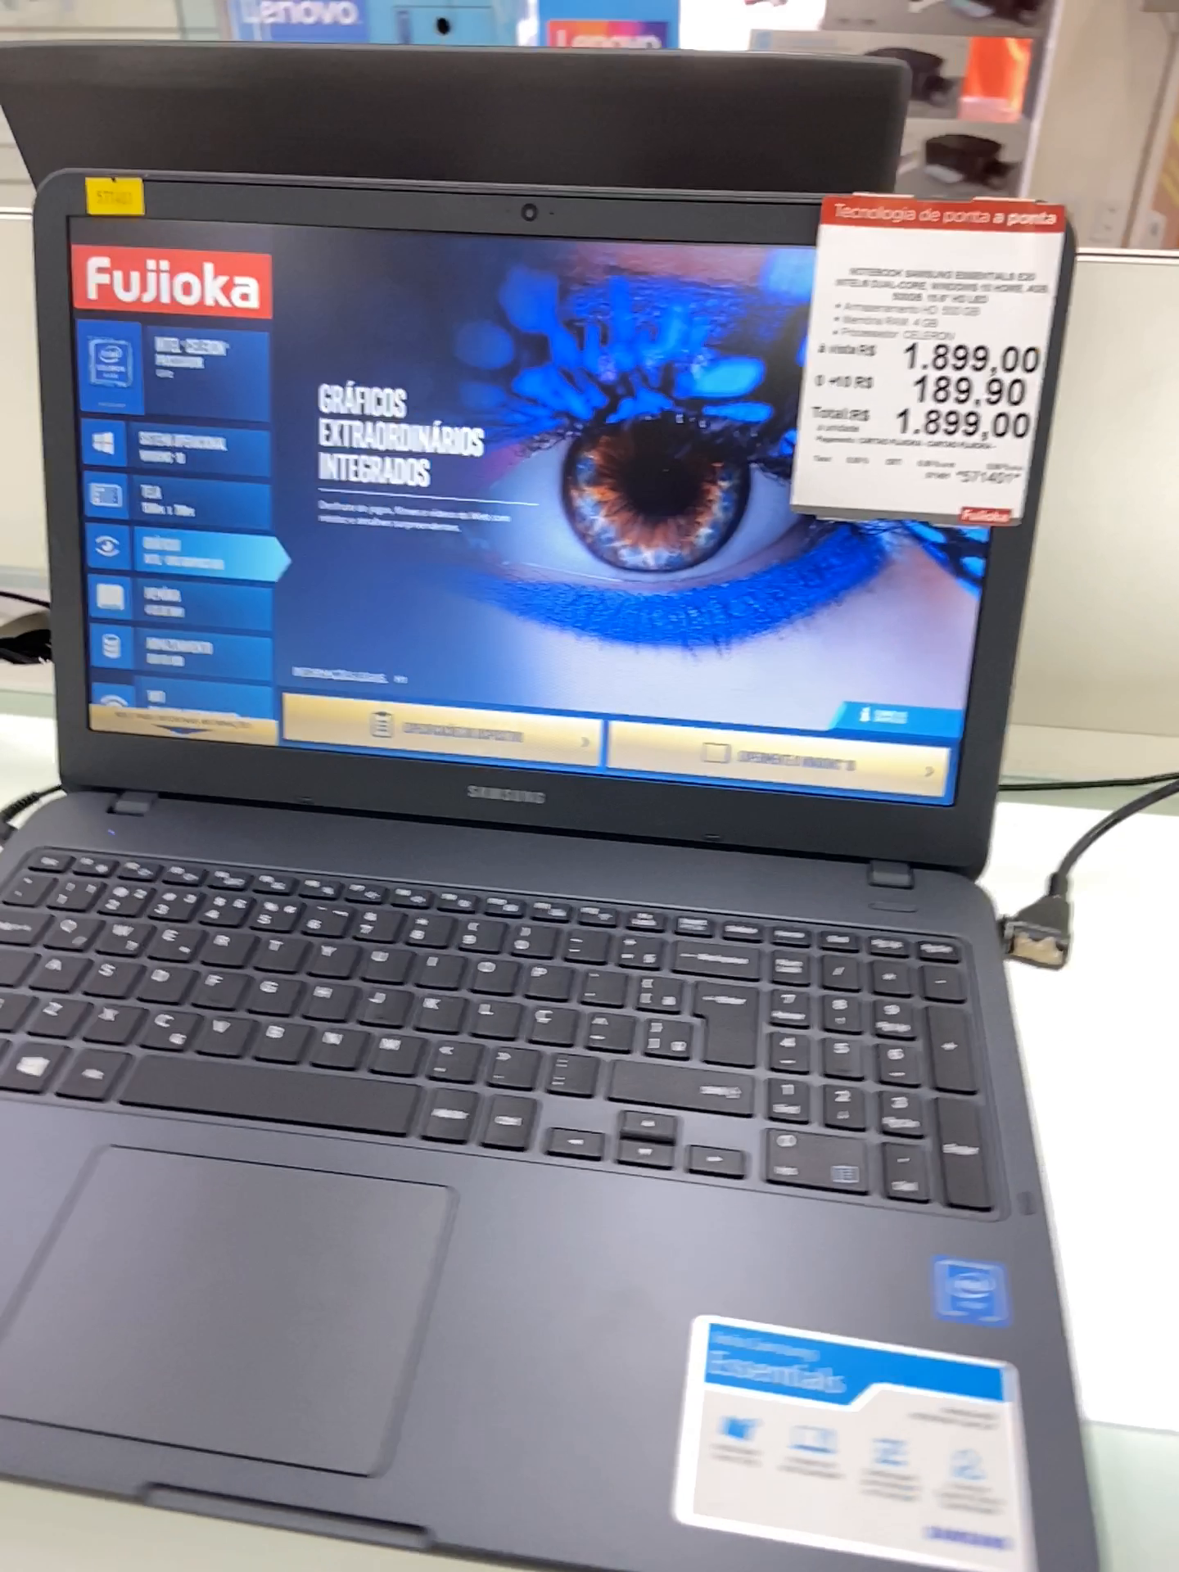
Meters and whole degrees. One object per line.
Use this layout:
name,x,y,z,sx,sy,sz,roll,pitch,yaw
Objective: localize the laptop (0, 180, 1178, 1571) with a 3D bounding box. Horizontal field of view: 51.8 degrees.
laptop,-0.048,-0.023,0.359,0.366,0.207,0.348,5,38,7
